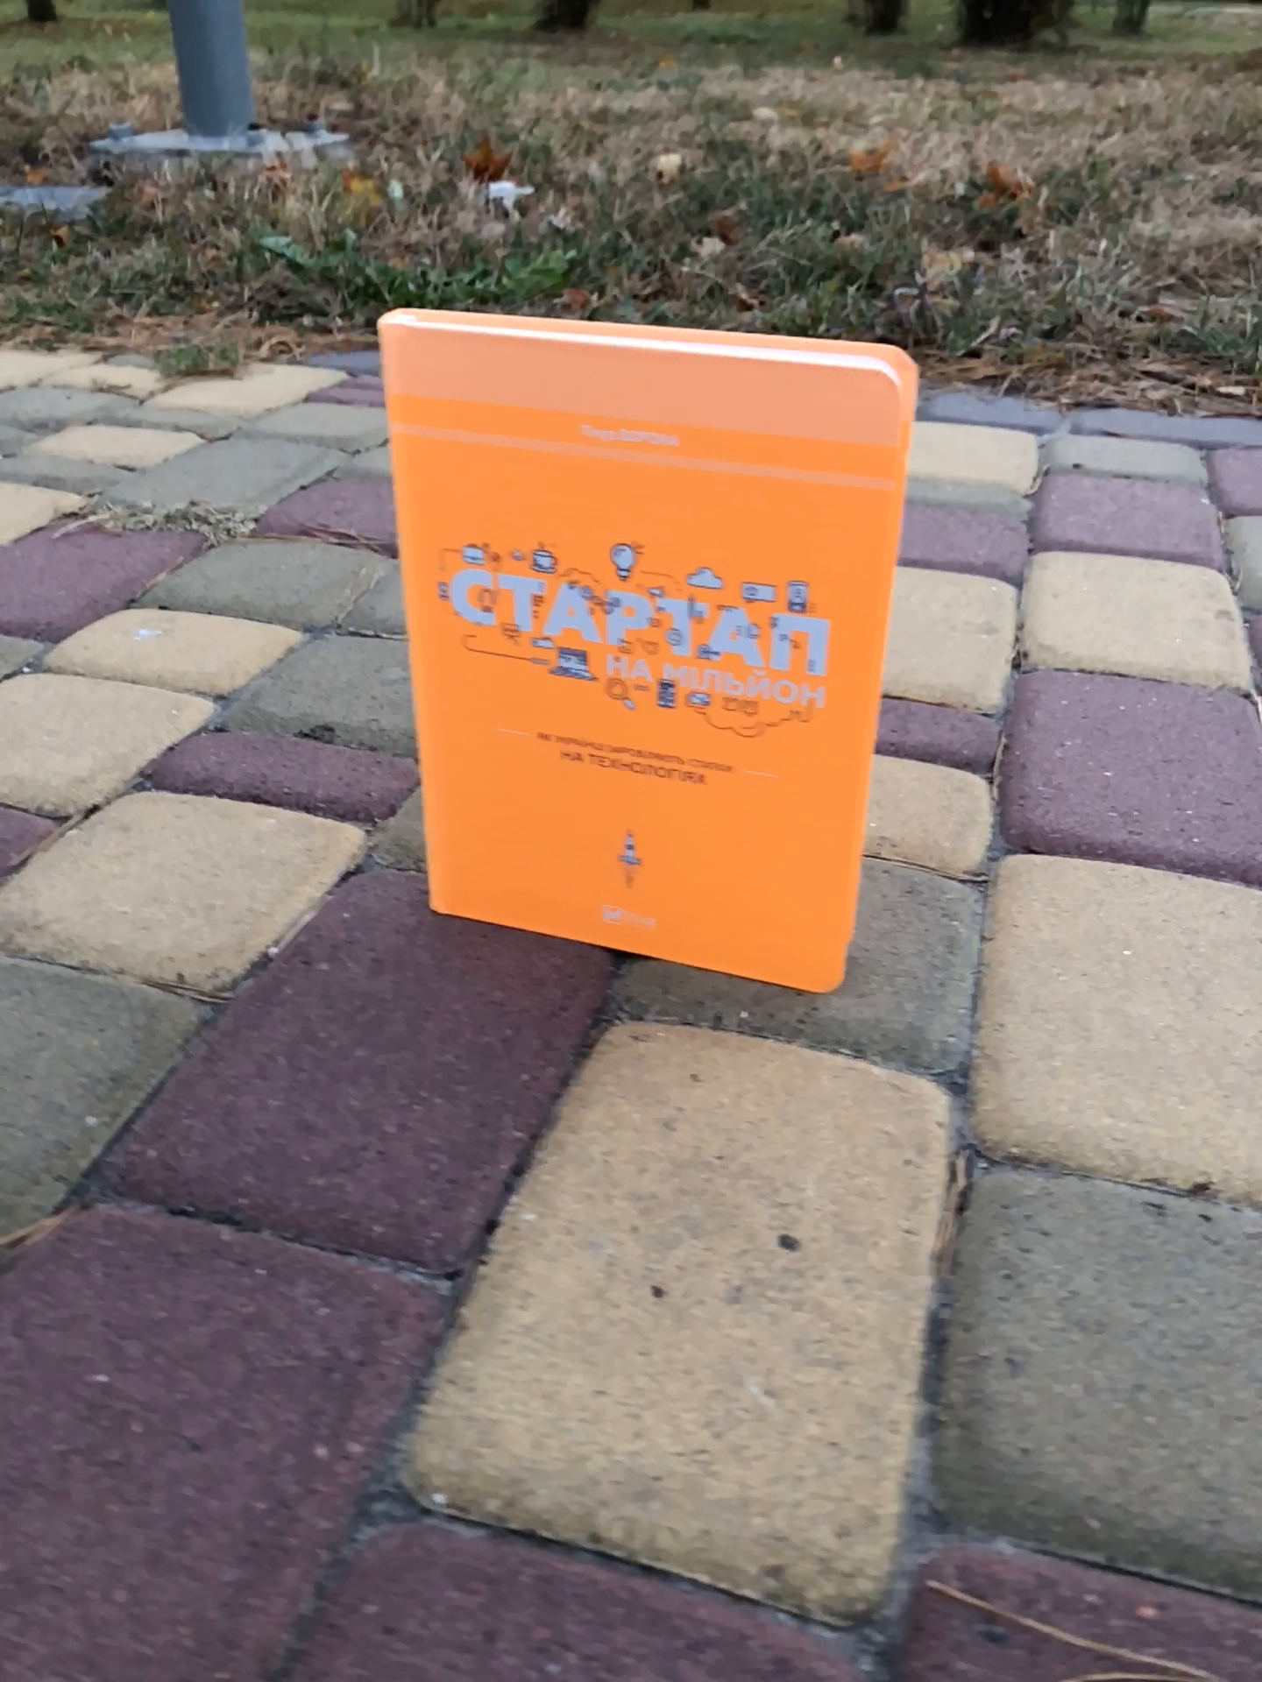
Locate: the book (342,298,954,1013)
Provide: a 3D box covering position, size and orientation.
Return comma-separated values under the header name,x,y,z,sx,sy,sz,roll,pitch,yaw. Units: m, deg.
name,x,y,z,sx,sy,sz,roll,pitch,yaw
book,0.003,-0.055,0.434,0.164,0.200,0.040,11,33,16
